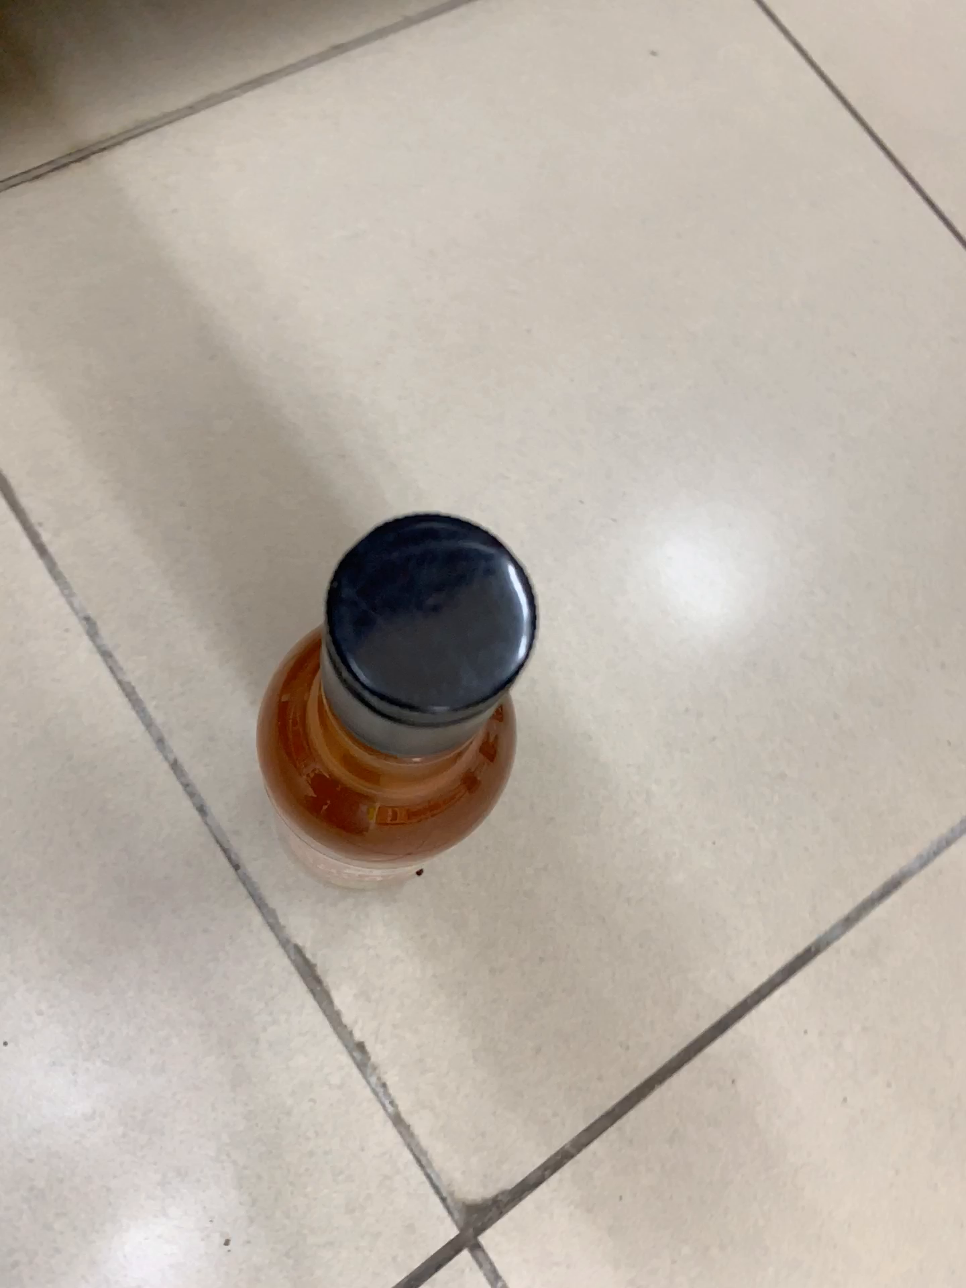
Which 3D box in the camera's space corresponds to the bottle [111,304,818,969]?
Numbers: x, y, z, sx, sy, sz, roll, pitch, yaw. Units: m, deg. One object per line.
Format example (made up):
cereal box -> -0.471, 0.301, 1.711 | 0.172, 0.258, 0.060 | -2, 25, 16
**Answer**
bottle -> -0.015, 0.027, 0.232 | 0.070, 0.220, 0.060 | 33, 71, 2
